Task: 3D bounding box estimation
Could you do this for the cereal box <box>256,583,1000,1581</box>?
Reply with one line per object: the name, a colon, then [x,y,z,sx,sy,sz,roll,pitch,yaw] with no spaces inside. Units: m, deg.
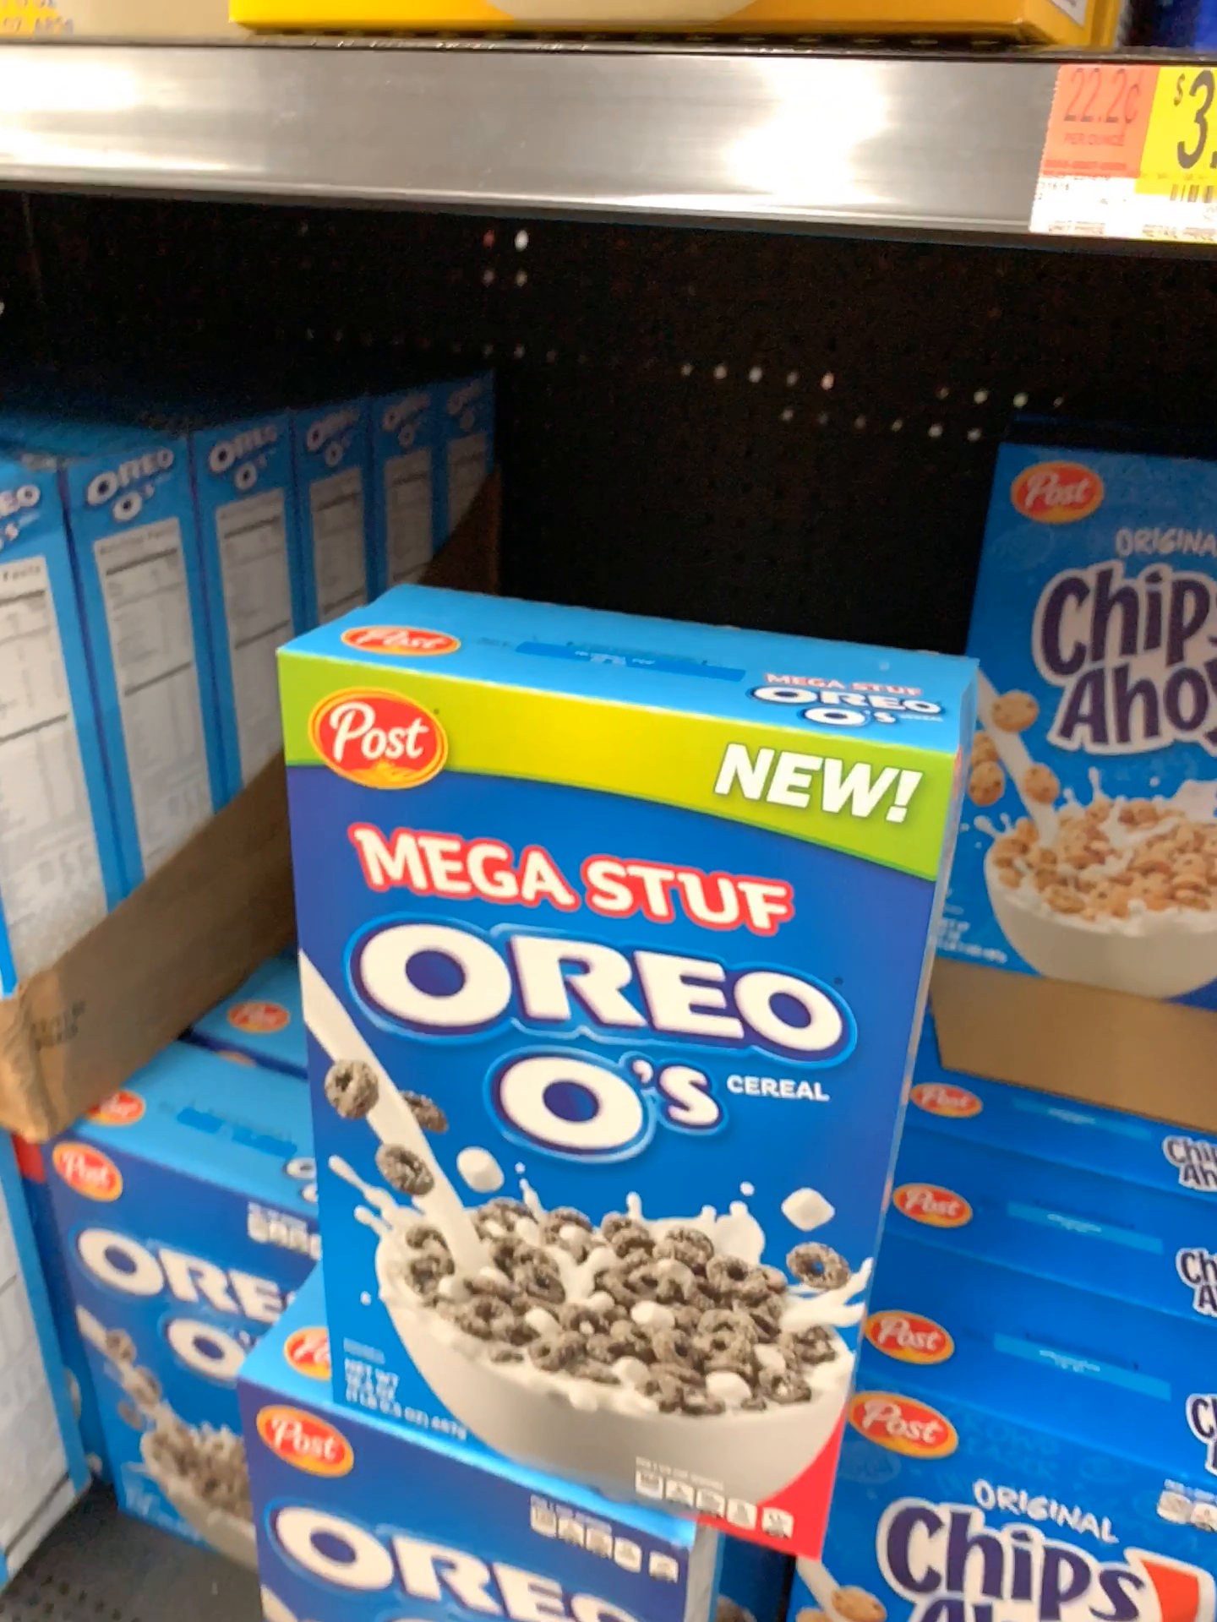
cereal box: [0.001,0.092,0.424,0.200,0.299,0.080,10,25,14]
